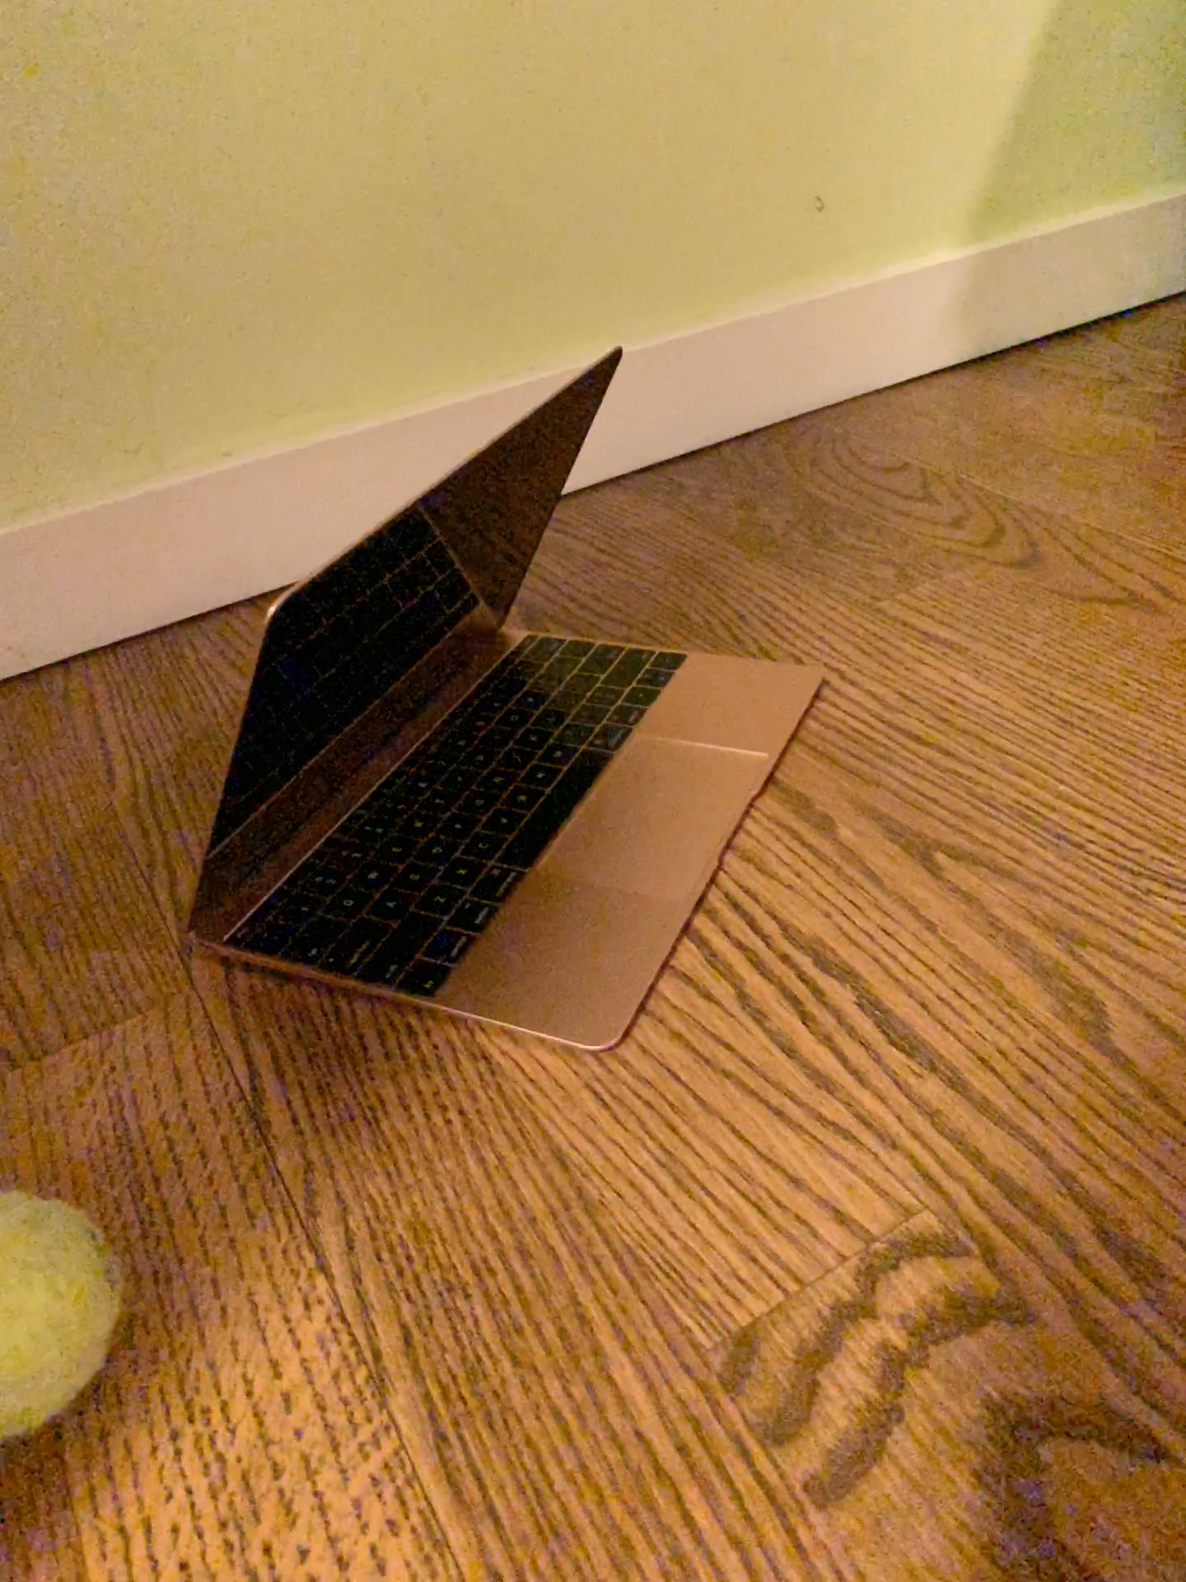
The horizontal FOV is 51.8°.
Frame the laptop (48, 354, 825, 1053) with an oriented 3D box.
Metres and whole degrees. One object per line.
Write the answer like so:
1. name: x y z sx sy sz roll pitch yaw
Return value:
1. laptop: -0.035 -0.068 0.549 0.206 0.168 0.289 9 38 24
